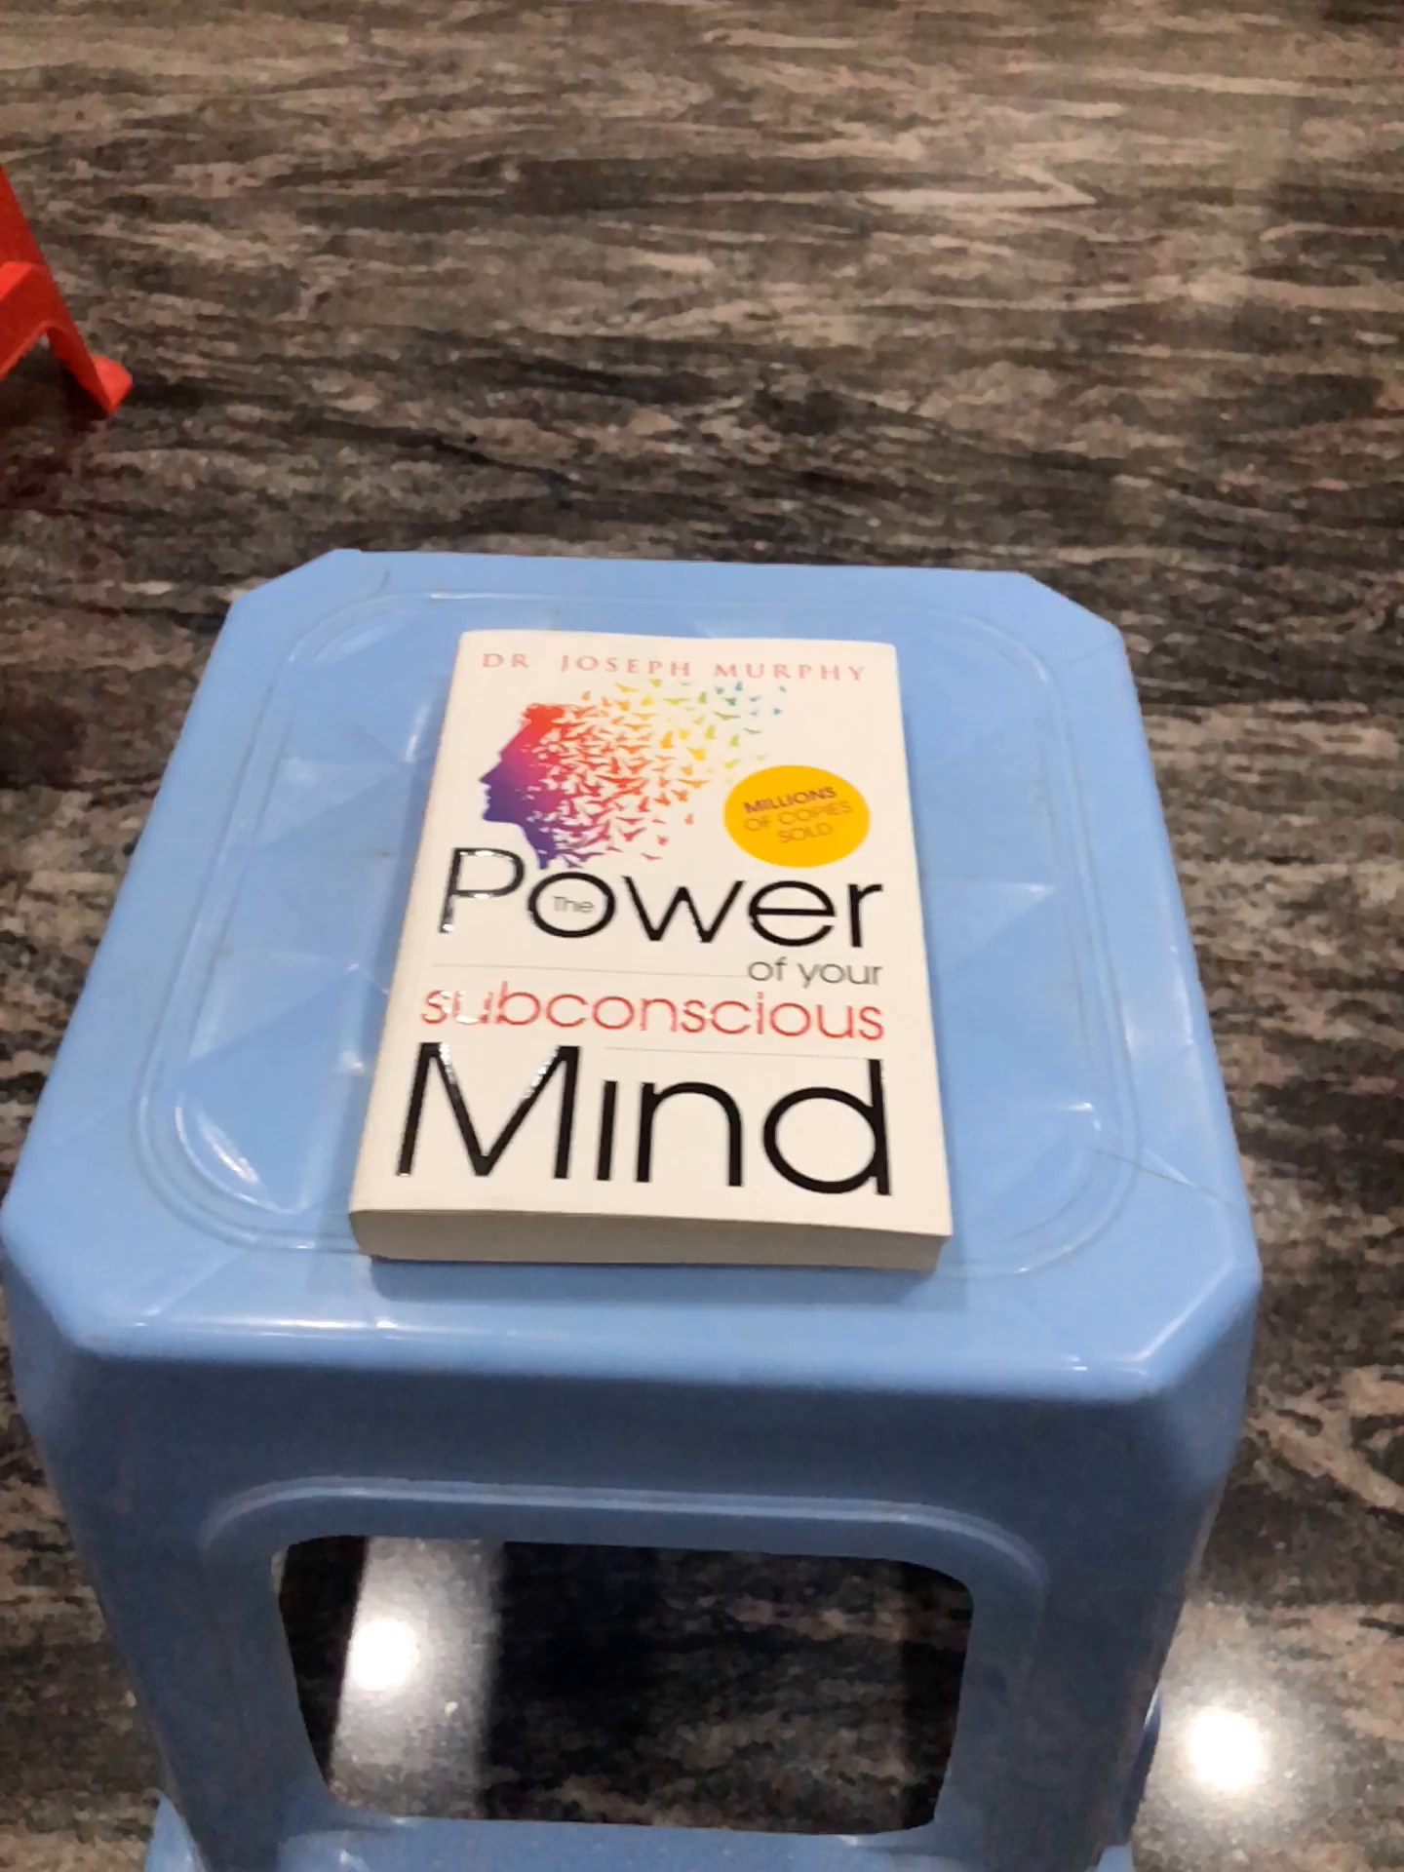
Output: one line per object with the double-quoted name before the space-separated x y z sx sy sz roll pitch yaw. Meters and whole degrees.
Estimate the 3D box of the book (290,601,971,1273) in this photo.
"book" -0.015 -0.012 0.398 0.140 0.030 0.201 1 48 -1
